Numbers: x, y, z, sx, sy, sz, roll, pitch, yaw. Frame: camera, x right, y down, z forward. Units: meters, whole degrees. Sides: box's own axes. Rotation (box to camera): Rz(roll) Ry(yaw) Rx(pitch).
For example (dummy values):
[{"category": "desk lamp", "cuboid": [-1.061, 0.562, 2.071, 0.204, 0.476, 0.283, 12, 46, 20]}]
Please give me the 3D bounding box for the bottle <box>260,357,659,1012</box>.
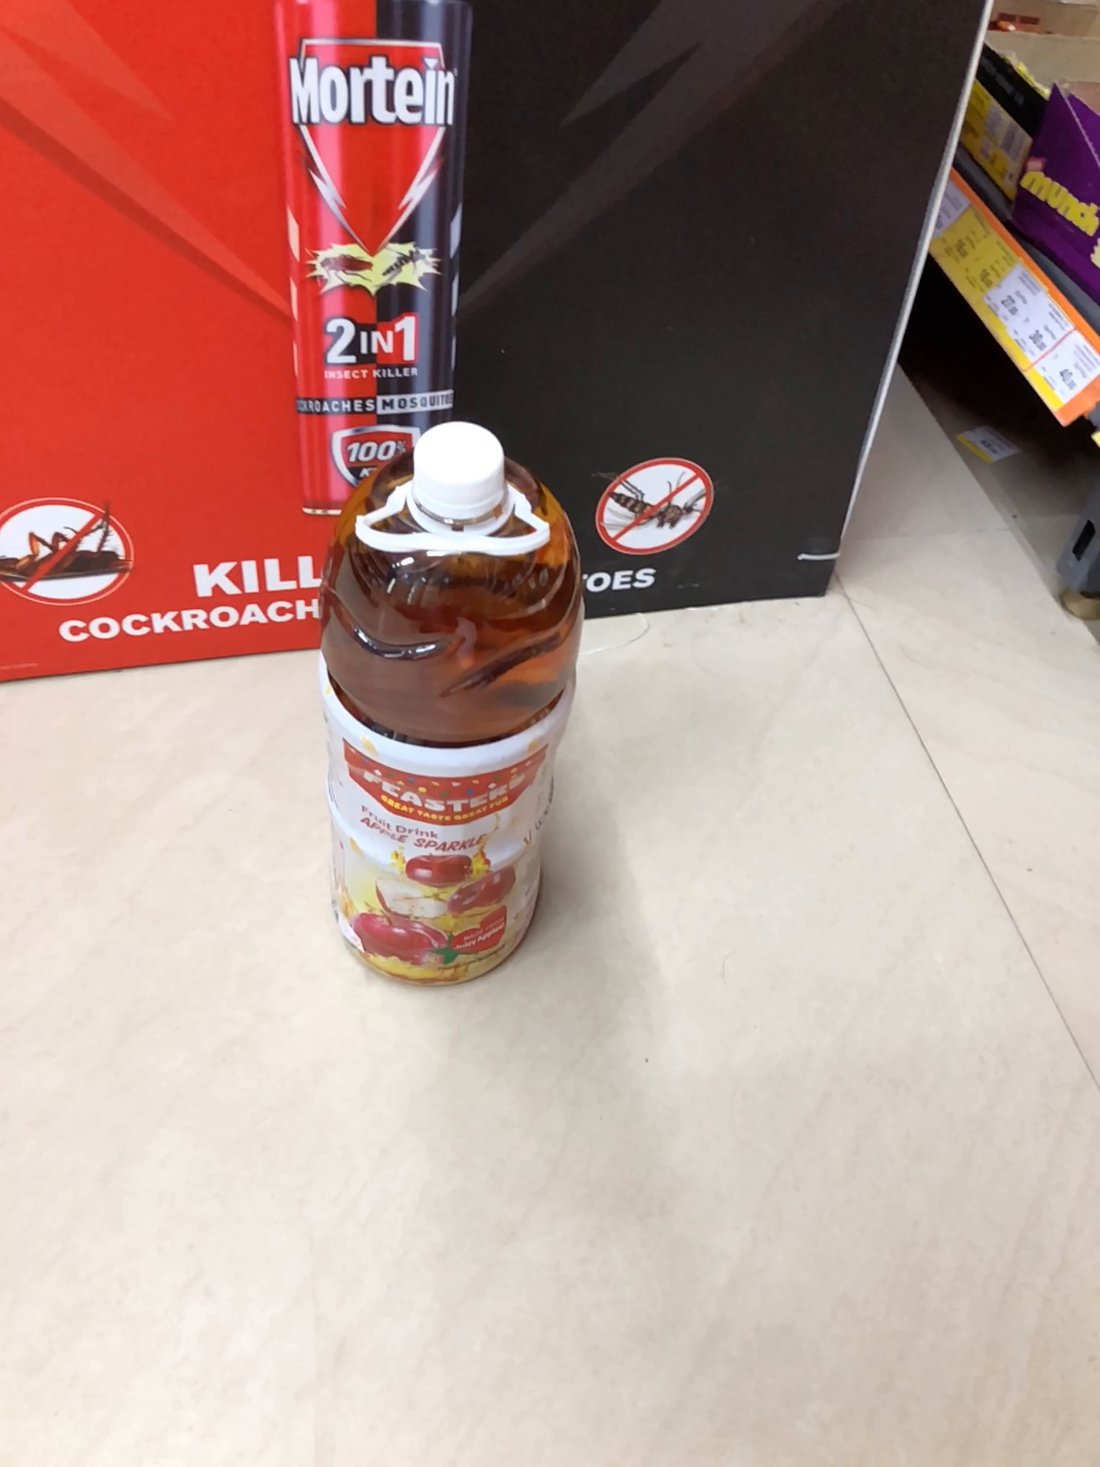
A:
[{"category": "bottle", "cuboid": [-0.038, 0.000, 0.502, 0.120, 0.278, 0.101, 4, 49, -3]}]
